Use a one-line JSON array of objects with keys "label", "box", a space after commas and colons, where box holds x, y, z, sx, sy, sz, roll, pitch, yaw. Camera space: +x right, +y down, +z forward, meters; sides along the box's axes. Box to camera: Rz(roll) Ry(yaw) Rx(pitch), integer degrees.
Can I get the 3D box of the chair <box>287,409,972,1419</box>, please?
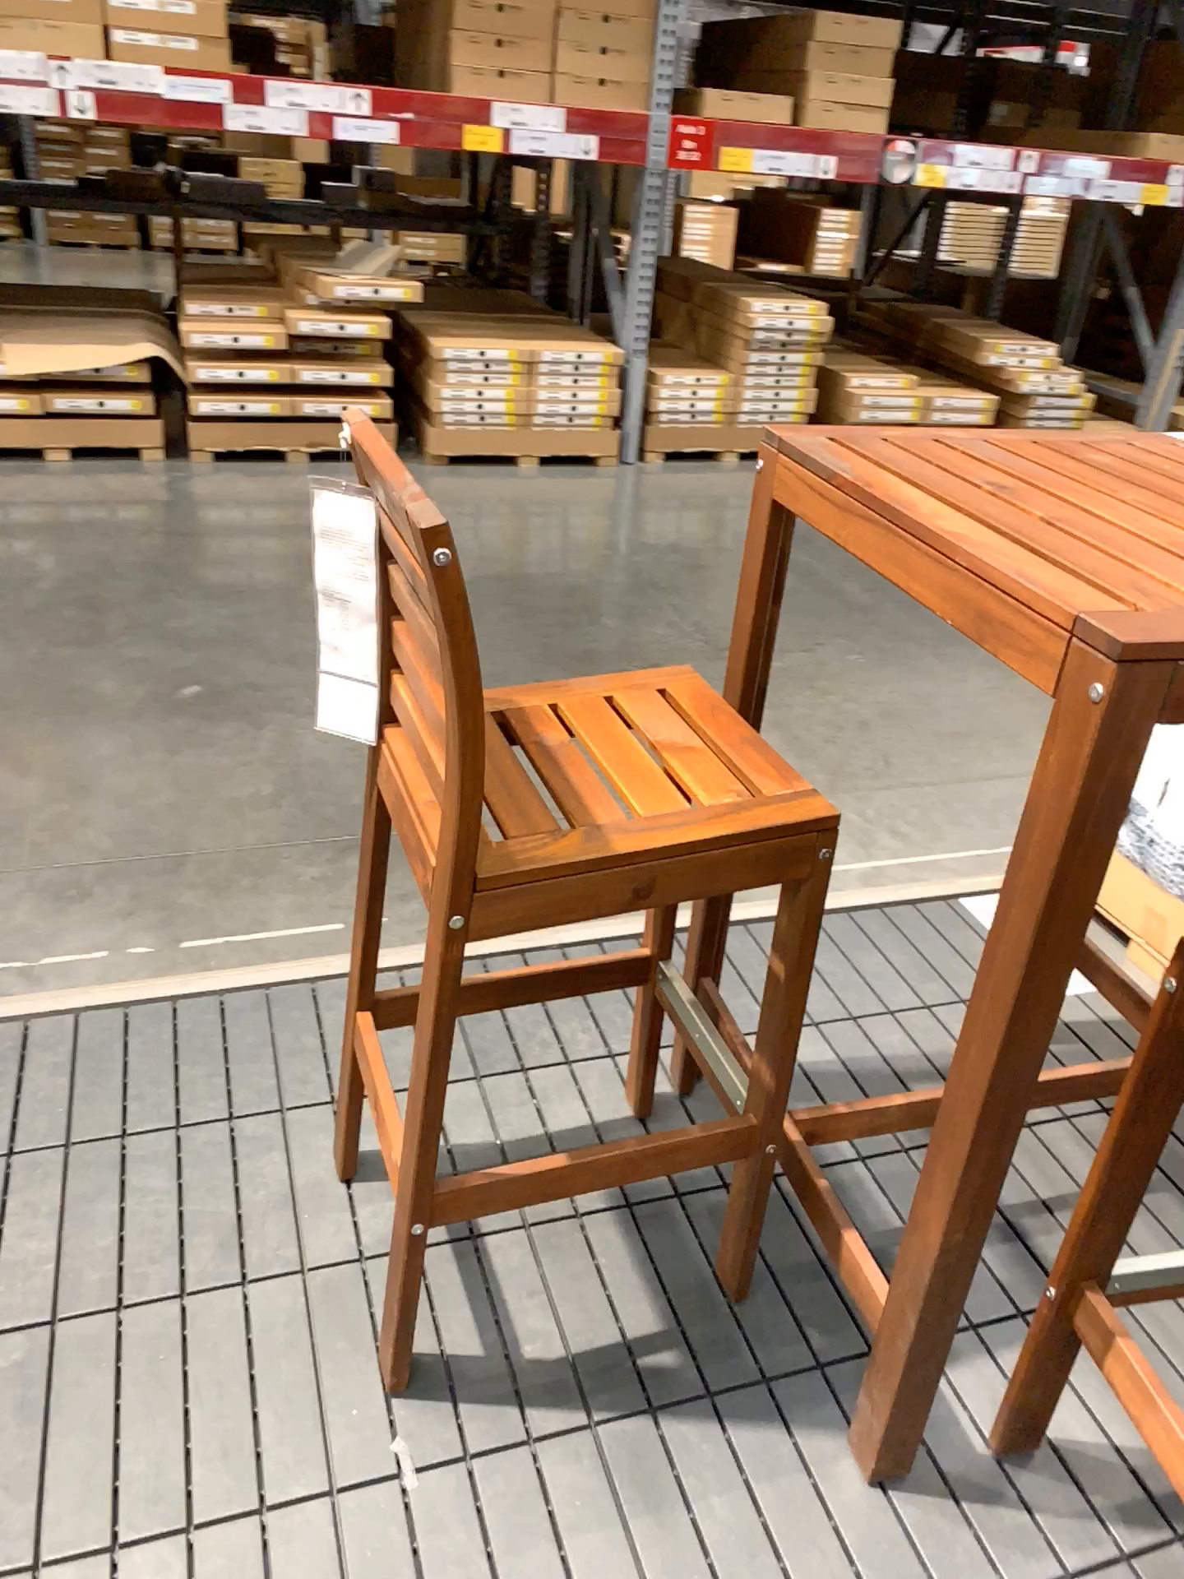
[{"label": "chair", "box": [-0.032, 0.132, 1.358, 0.520, 0.995, 0.432, -6, 30, -19]}]
